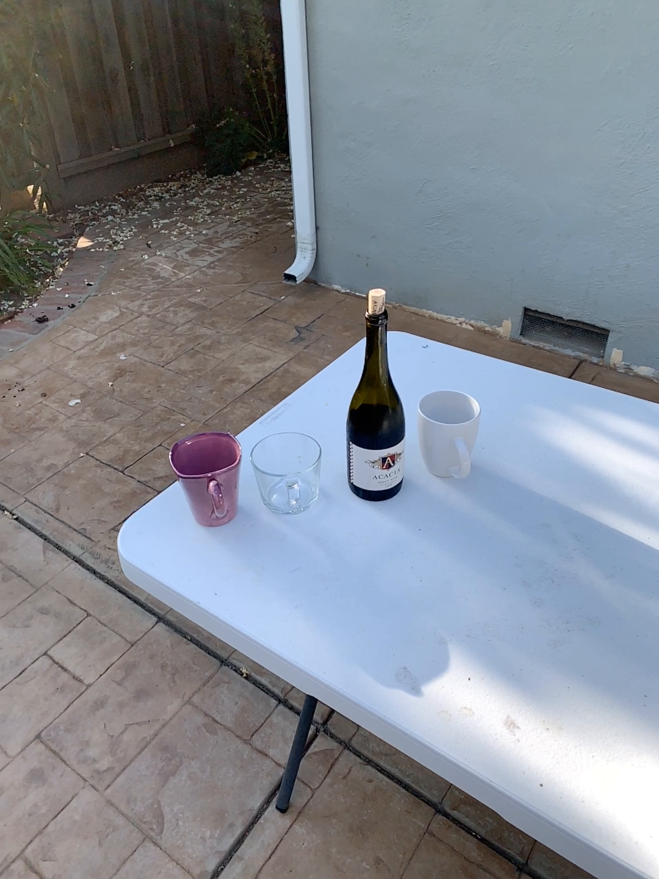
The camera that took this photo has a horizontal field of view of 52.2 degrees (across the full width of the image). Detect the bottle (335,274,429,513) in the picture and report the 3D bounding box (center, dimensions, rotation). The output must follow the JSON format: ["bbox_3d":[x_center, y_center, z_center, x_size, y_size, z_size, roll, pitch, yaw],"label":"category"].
[{"bbox_3d":[0.068,-0.055,0.918,0.080,0.308,0.091,-20,40,-22],"label":"bottle"}]
